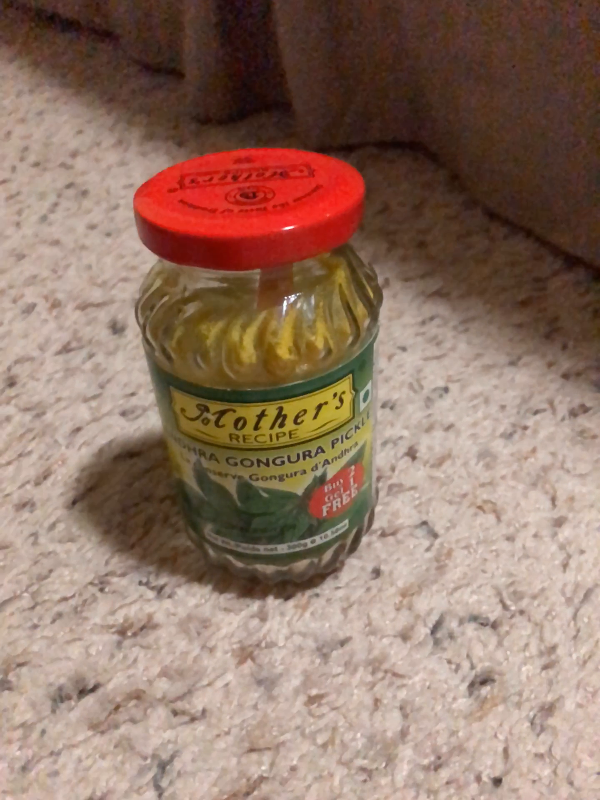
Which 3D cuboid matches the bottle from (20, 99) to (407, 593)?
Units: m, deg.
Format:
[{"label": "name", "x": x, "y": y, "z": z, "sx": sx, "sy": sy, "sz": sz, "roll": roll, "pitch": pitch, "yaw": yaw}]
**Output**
[{"label": "bottle", "x": -0.014, "y": -0.012, "z": 0.184, "sx": 0.070, "sy": 0.110, "sz": 0.070, "roll": -2, "pitch": 39, "yaw": 2}]
